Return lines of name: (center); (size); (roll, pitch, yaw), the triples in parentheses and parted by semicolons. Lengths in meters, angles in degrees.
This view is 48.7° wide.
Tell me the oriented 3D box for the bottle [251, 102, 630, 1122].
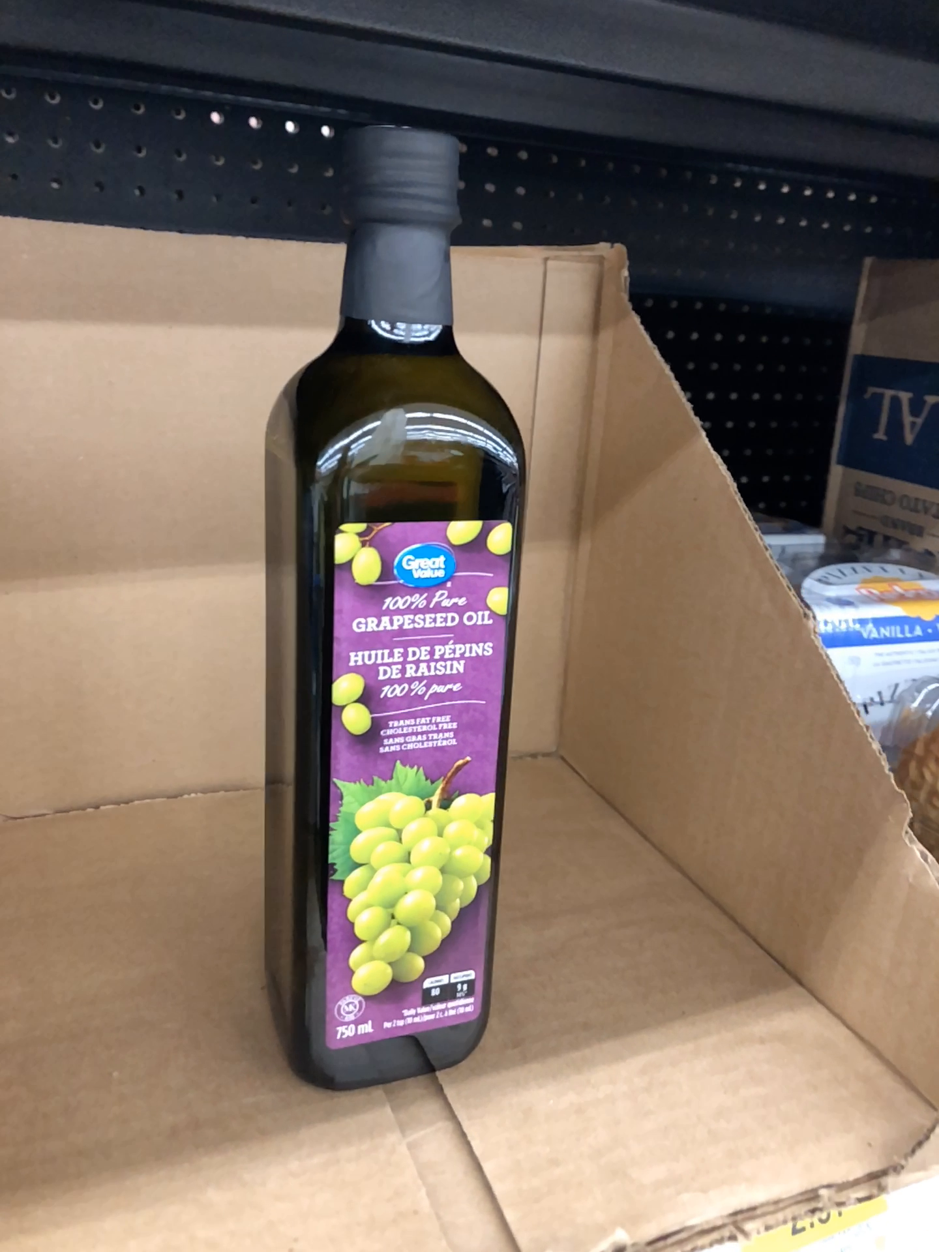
bottle: (-0.019, 0.006, 0.309); (0.080, 0.278, 0.060); (-3, 20, -22)
